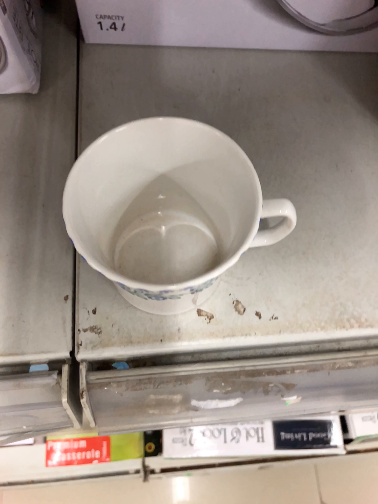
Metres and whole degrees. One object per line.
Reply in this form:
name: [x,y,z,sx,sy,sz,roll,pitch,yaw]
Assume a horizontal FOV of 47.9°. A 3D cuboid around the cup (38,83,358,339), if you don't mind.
cup: [-0.001,-0.013,0.181,0.100,0.070,0.070,-9,69,-7]
